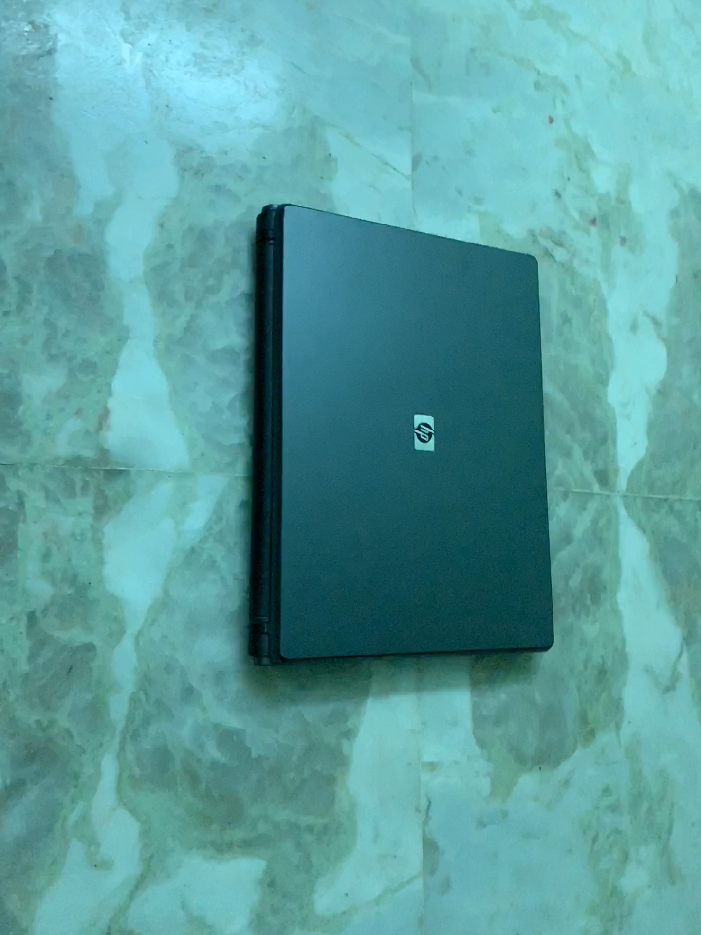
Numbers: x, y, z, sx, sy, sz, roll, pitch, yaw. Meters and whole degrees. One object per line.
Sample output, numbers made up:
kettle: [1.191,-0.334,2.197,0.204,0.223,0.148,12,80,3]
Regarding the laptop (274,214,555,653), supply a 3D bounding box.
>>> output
laptop: [0.054,-0.023,0.541,0.226,0.001,0.310,4,81,-22]
